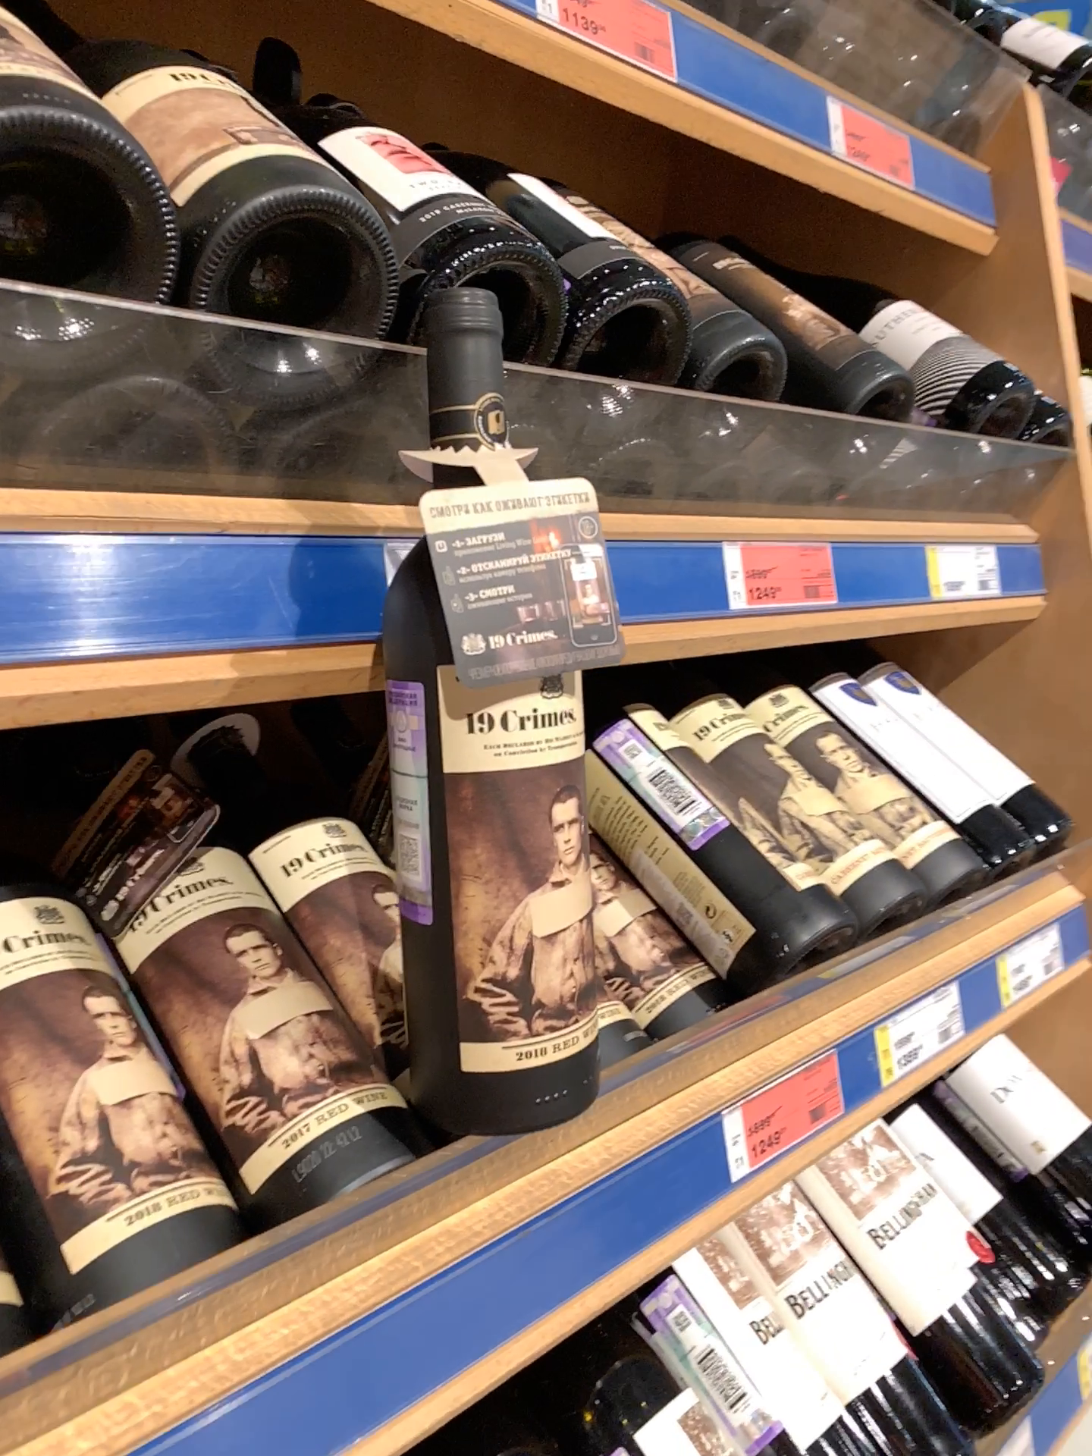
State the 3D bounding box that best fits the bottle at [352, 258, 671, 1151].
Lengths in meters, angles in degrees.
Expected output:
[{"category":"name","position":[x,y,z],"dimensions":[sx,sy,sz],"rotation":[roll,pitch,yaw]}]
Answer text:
[{"category":"bottle","position":[-0.011,-0.009,0.435],"dimensions":[0.081,0.300,0.087],"rotation":[-1,6,0]}]
